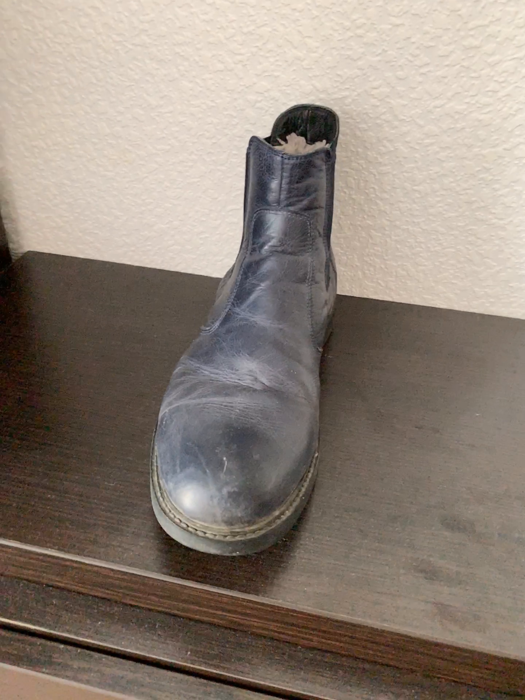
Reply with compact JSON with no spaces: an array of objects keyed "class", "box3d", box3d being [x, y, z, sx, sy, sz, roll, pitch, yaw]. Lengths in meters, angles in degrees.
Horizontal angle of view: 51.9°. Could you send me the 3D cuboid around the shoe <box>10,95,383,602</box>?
[{"class":"shoe","box3d":[-0.001,-0.039,0.339,0.110,0.159,0.302,10,37,9]}]
